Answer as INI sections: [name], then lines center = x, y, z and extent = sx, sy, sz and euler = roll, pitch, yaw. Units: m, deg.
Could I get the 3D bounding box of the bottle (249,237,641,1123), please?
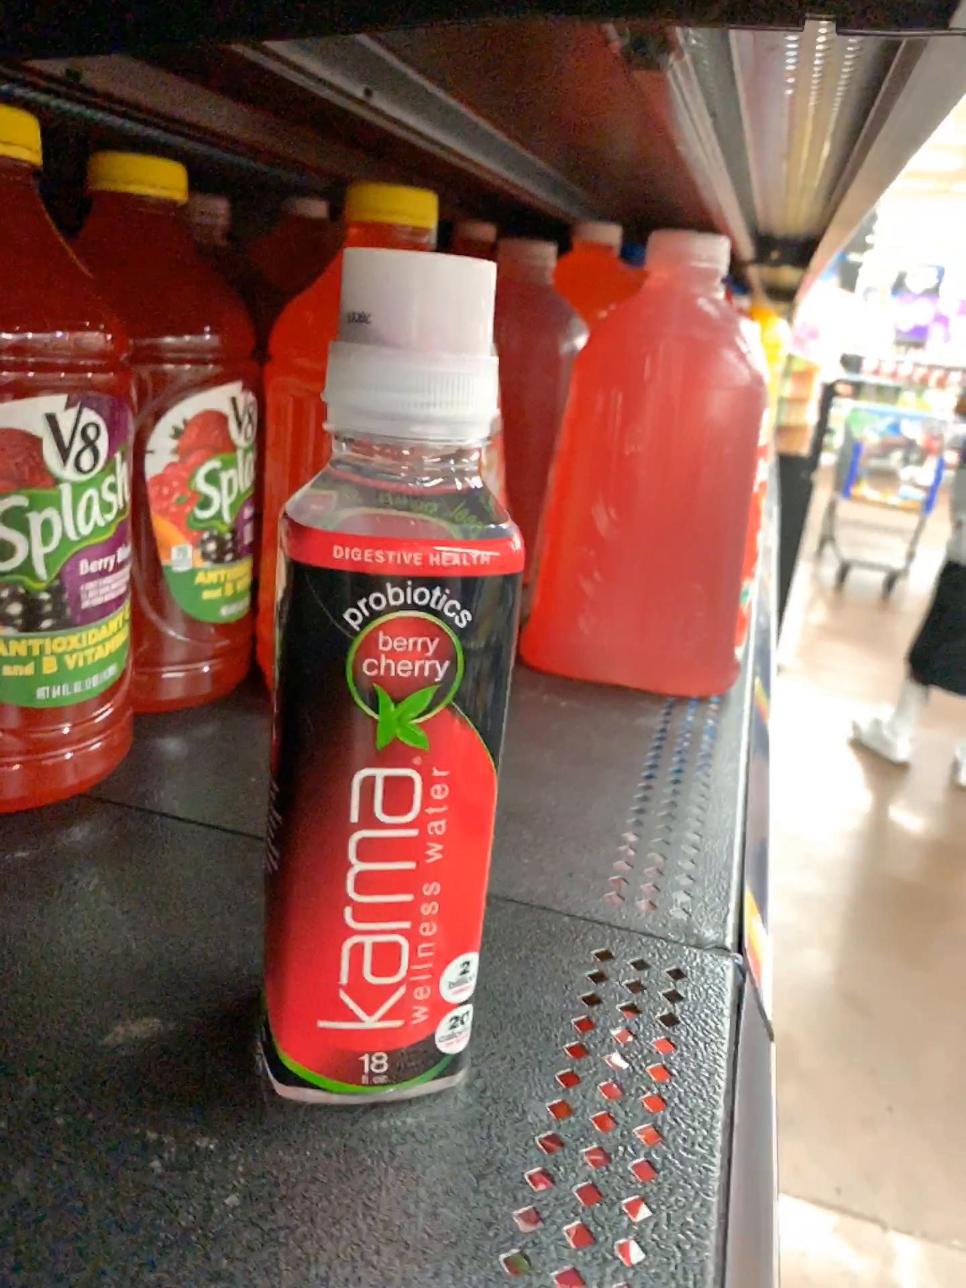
[bottle]
center = -0.021, 0.012, 0.261
extent = 0.068, 0.209, 0.070
euler = 6, 18, -2
